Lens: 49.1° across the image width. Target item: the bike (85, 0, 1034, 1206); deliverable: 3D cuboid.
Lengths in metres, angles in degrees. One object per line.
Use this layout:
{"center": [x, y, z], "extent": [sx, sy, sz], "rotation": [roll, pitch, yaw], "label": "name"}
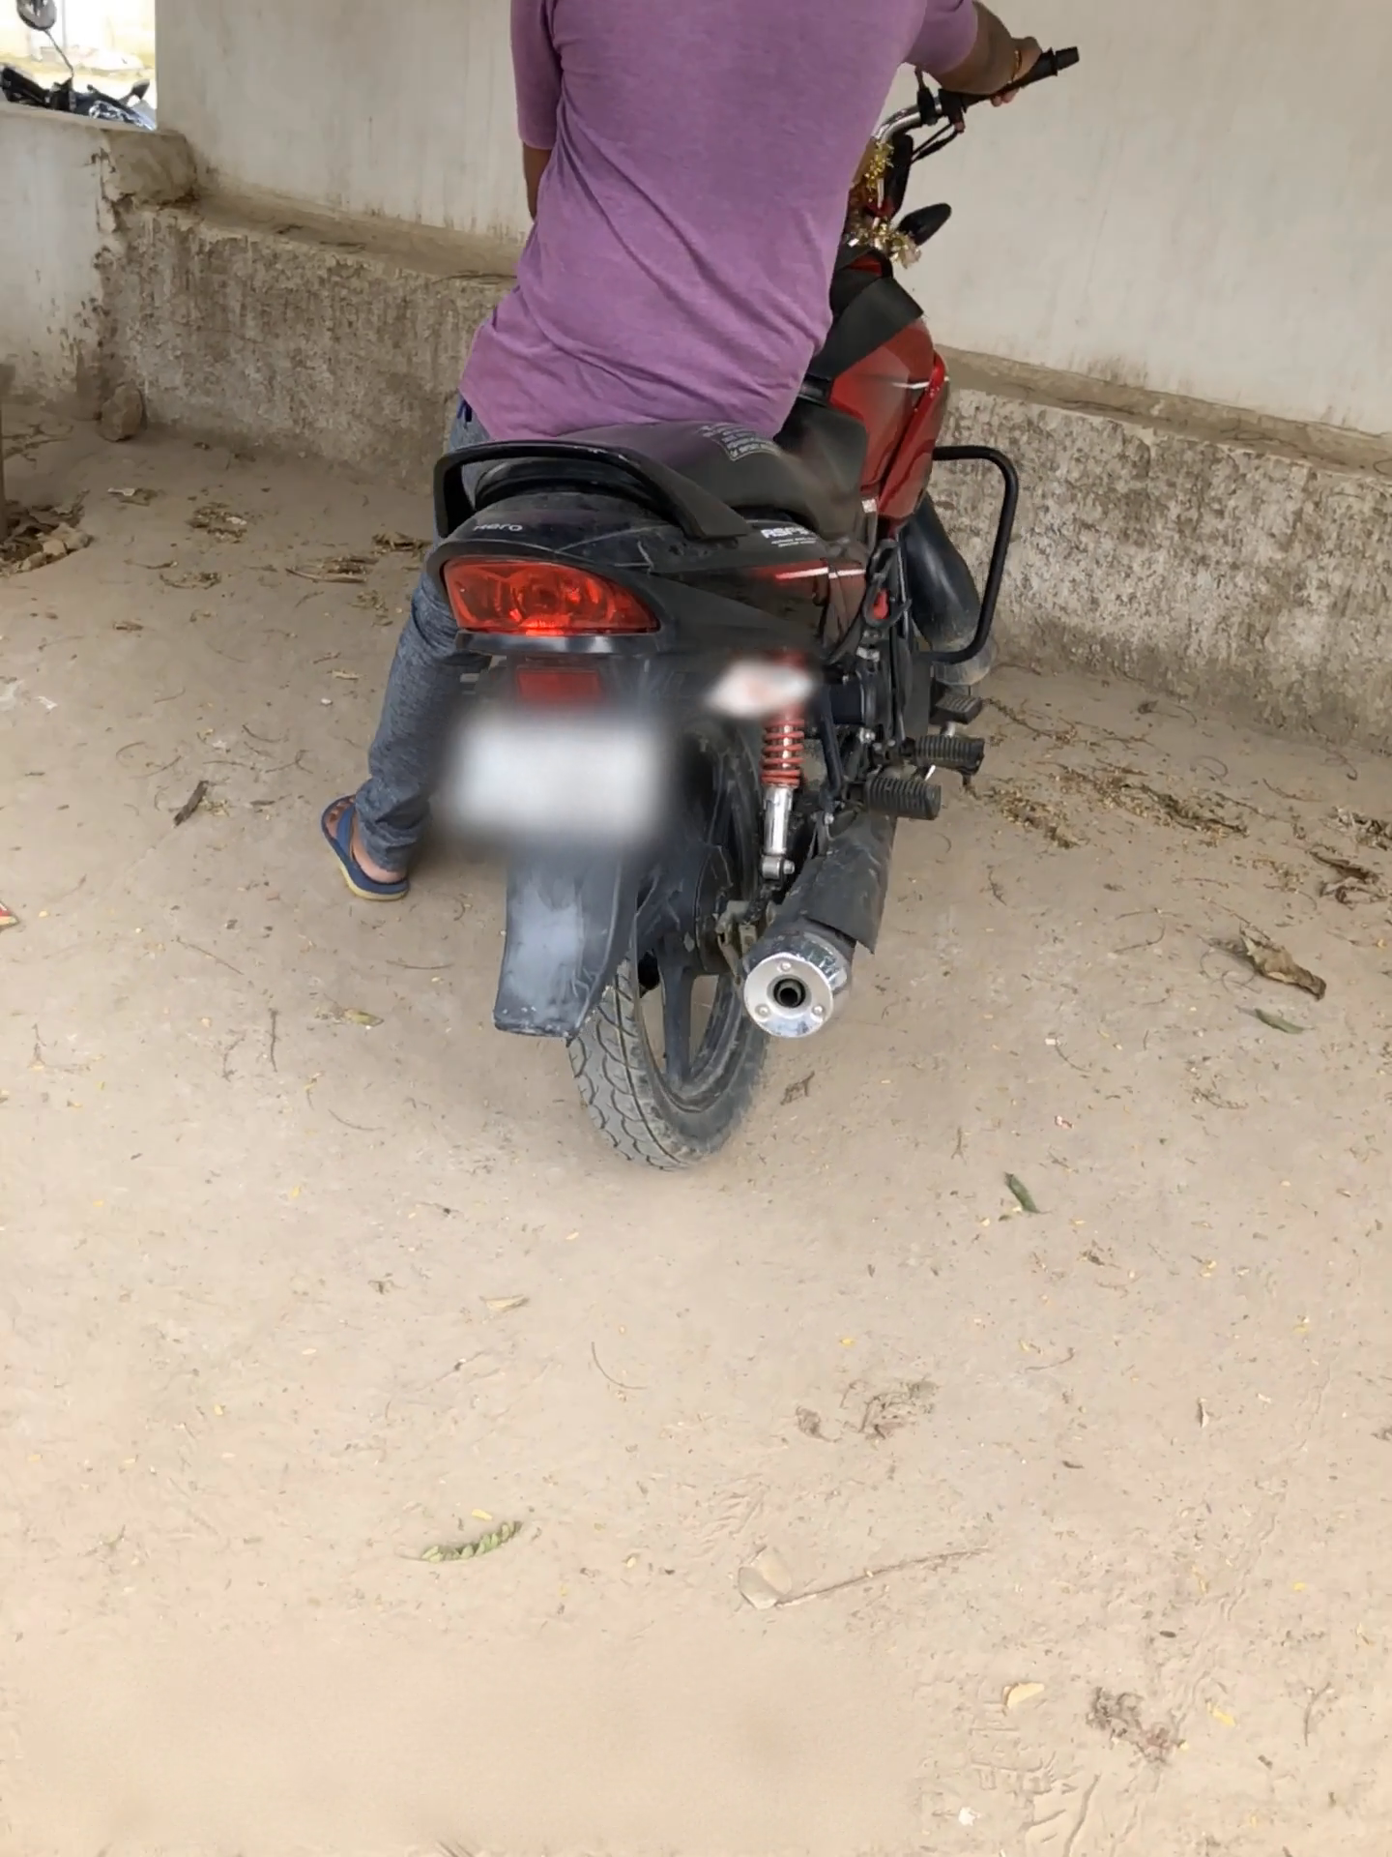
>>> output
{"center": [-0.076, -0.769, 2.081], "extent": [0.740, 1.086, 1.710], "rotation": [10, 35, 3], "label": "bike"}
